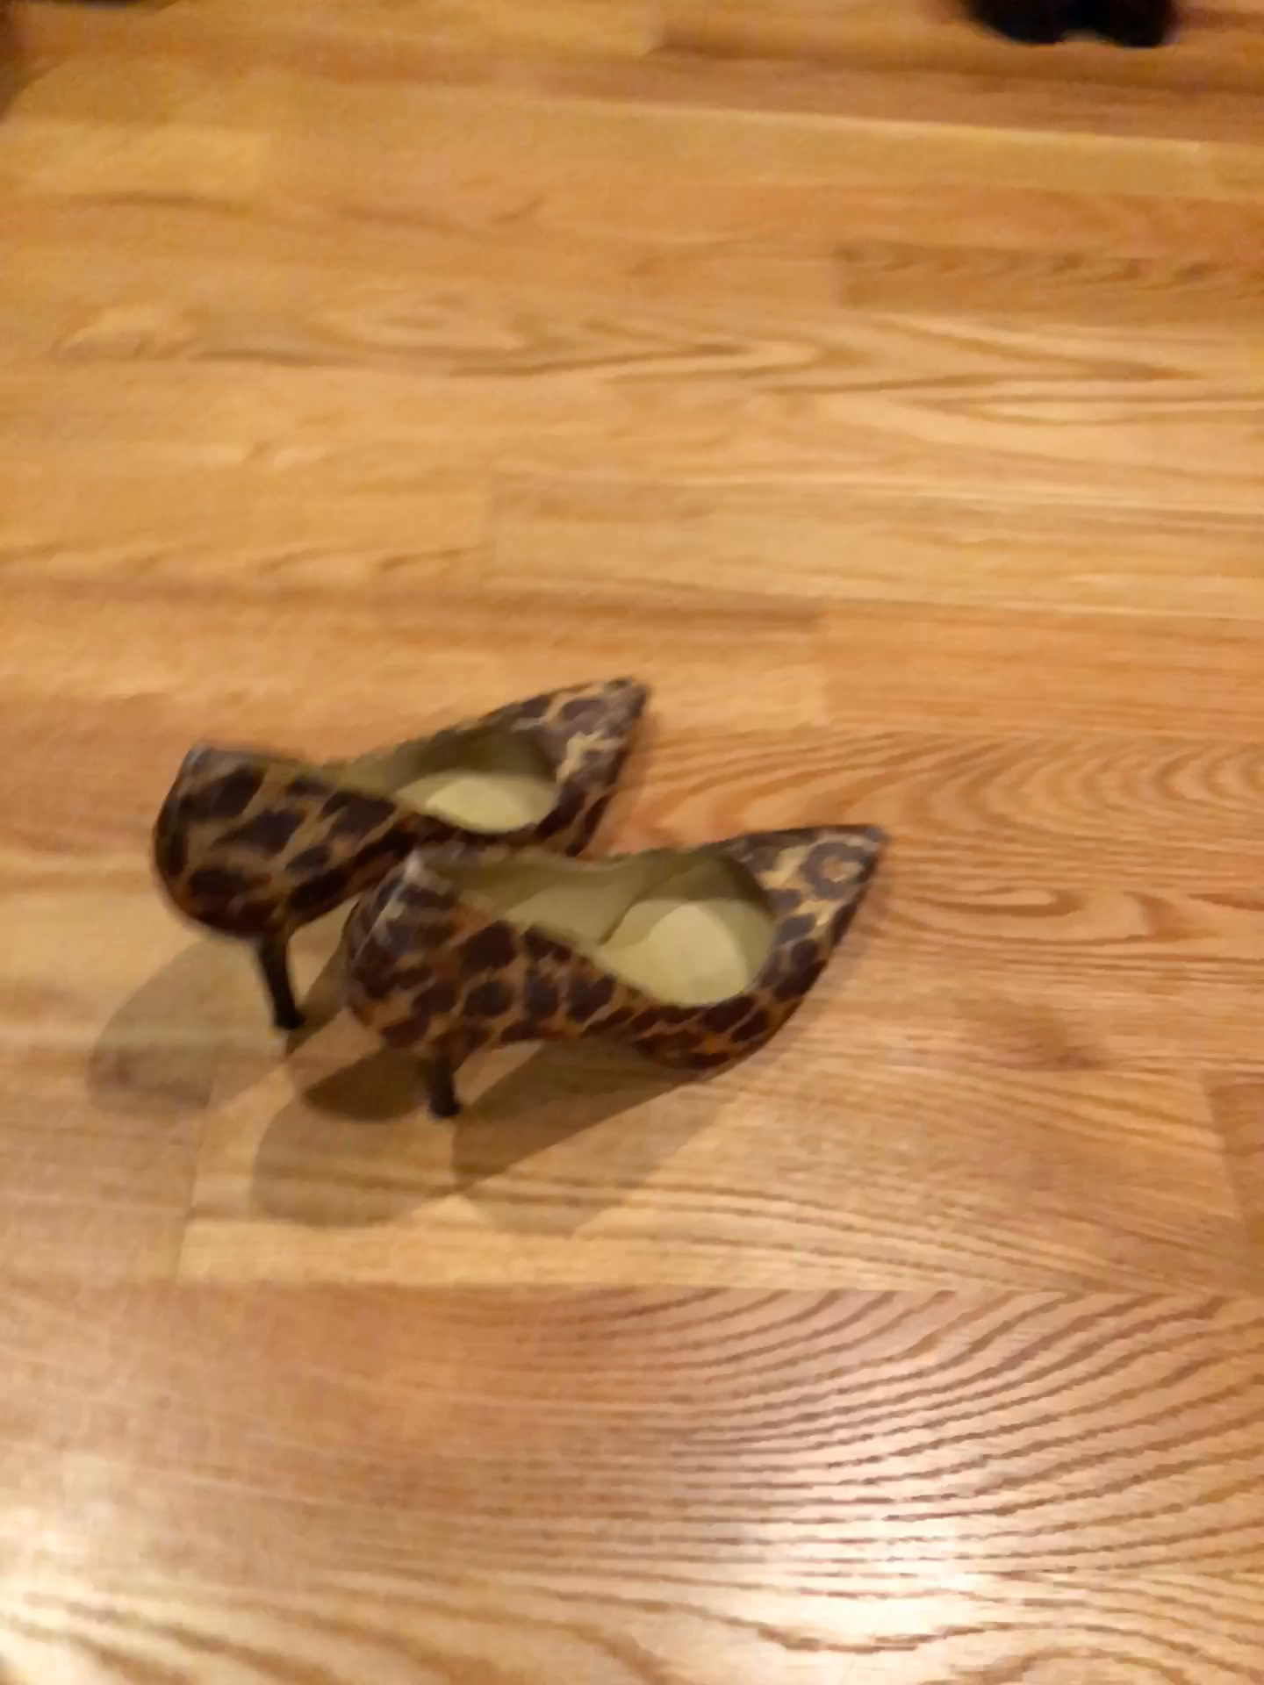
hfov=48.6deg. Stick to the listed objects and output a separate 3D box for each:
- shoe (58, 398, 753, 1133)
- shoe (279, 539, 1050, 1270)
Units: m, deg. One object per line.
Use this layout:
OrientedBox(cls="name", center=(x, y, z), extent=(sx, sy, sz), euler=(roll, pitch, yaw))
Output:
OrientedBox(cls="shoe", center=(-0.065, -0.031, 0.491), extent=(0.084, 0.144, 0.219), euler=(35, 56, 20))
OrientedBox(cls="shoe", center=(0.011, 0.018, 0.460), extent=(0.219, 0.144, 0.084), euler=(-29, 59, -26))
